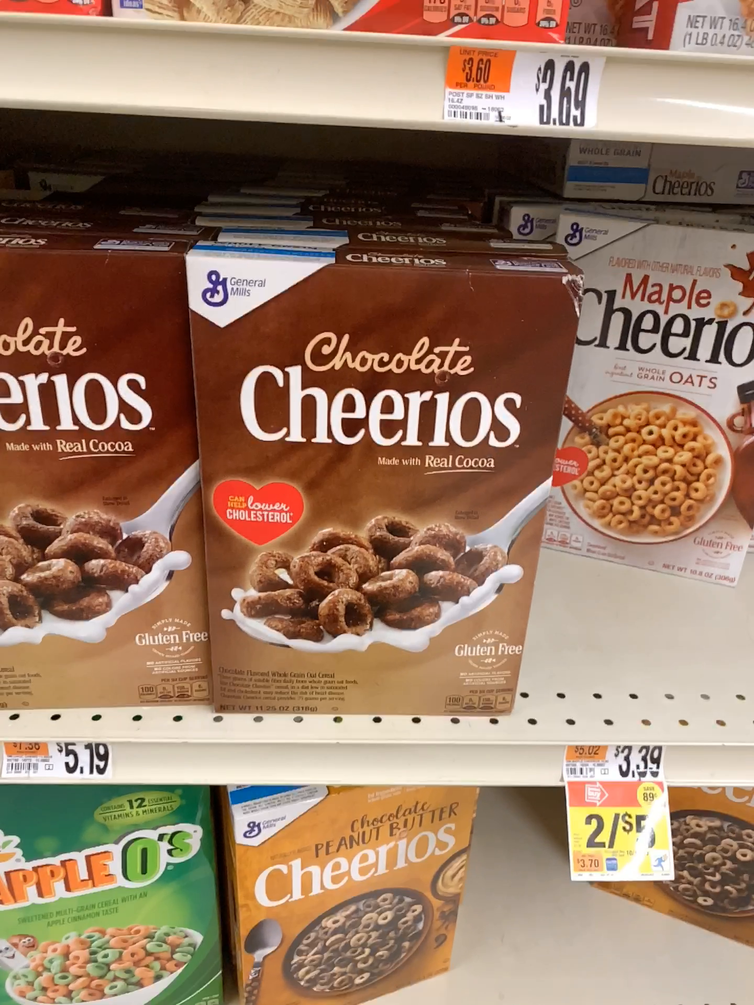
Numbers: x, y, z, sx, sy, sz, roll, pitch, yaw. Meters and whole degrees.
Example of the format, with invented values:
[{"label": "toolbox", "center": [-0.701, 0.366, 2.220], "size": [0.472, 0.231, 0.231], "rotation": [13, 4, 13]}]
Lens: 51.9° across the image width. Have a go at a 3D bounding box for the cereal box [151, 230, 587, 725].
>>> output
[{"label": "cereal box", "center": [-0.011, 0.001, 0.471], "size": [0.210, 0.298, 0.060], "rotation": [2, 29, -2]}]
